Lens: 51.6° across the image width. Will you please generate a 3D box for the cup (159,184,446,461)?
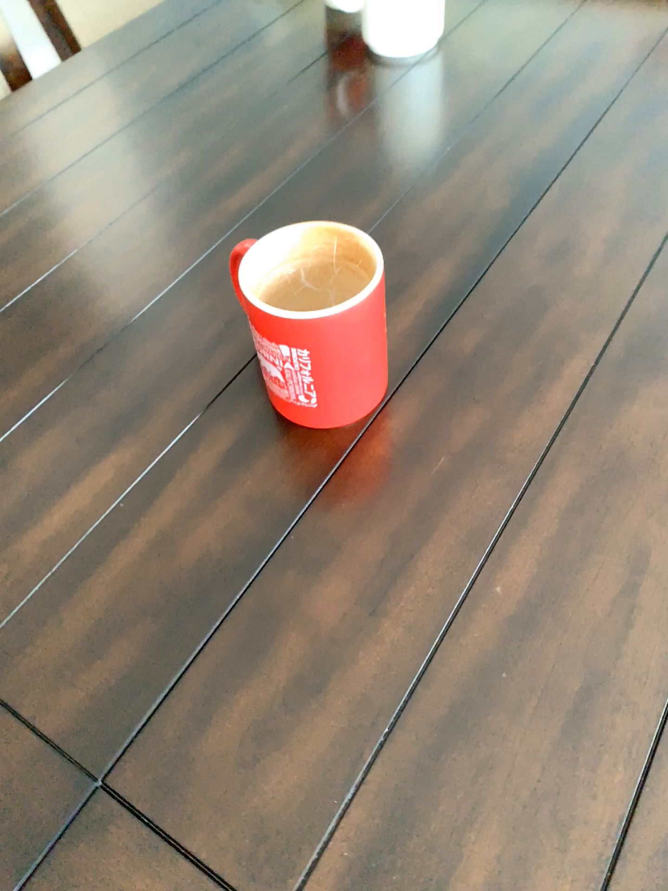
[{"bbox_3d":[-0.018,-0.082,0.434,0.100,0.080,0.141,-40,58,-22],"label":"cup"}]
